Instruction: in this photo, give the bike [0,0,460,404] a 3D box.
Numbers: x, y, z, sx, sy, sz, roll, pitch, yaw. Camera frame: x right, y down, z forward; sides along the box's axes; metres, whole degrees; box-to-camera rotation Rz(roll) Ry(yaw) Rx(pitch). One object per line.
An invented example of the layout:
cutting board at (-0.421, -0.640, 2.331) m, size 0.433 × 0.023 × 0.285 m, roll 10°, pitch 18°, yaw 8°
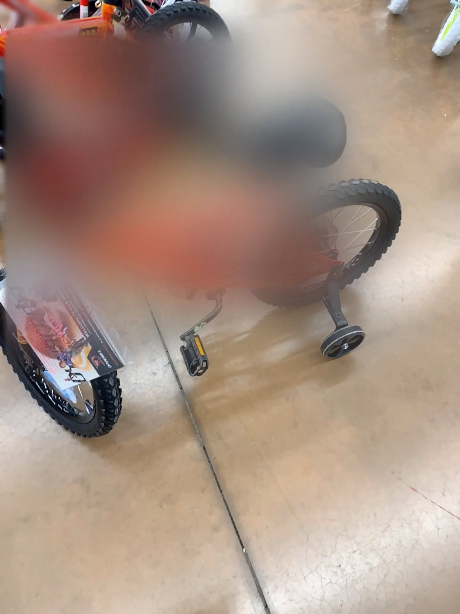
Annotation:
bike at (-0.107, -0.259, 1.031) m, size 0.994 × 0.821 × 0.504 m, roll -15°, pitch 58°, yaw -3°
